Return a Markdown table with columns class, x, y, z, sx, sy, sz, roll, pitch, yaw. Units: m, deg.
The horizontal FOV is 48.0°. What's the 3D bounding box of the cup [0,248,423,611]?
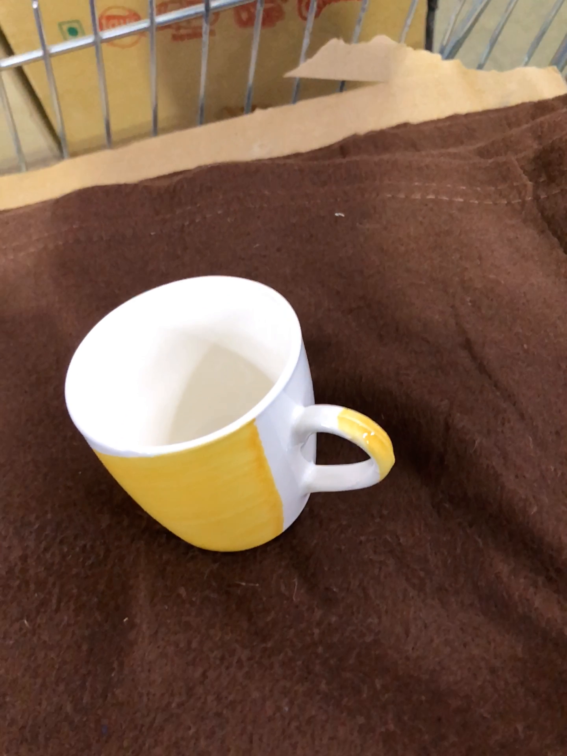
| class | x | y | z | sx | sy | sz | roll | pitch | yaw |
| --- | --- | --- | --- | --- | --- | --- | --- | --- | --- |
| cup | -0.014 | 0.011 | 0.178 | 0.090 | 0.060 | 0.060 | 11 | 52 | 23 |
